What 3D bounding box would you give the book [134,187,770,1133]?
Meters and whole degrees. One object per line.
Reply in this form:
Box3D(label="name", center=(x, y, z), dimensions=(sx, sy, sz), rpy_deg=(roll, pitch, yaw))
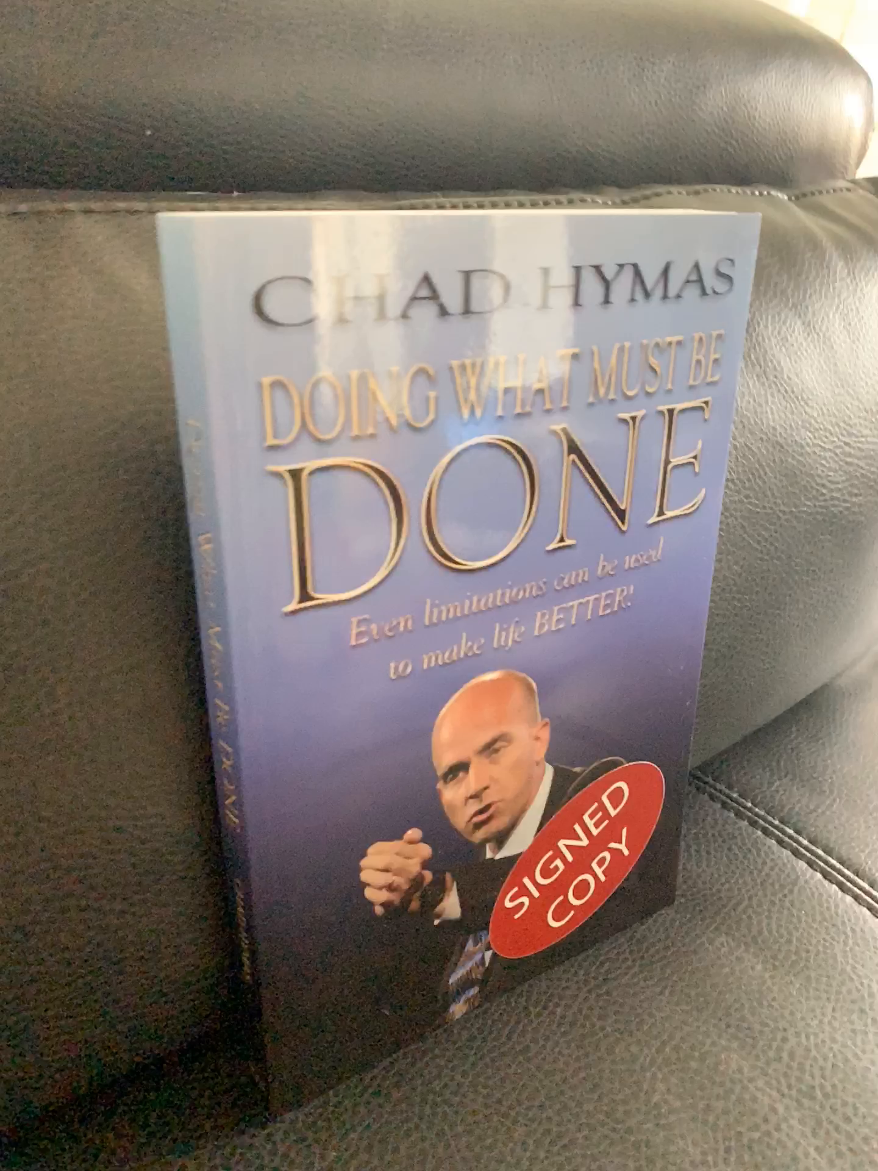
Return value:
Box3D(label="book", center=(0.013, 0.018, 0.246), dimensions=(0.157, 0.225, 0.025), rpy_deg=(-12, 24, -30))
